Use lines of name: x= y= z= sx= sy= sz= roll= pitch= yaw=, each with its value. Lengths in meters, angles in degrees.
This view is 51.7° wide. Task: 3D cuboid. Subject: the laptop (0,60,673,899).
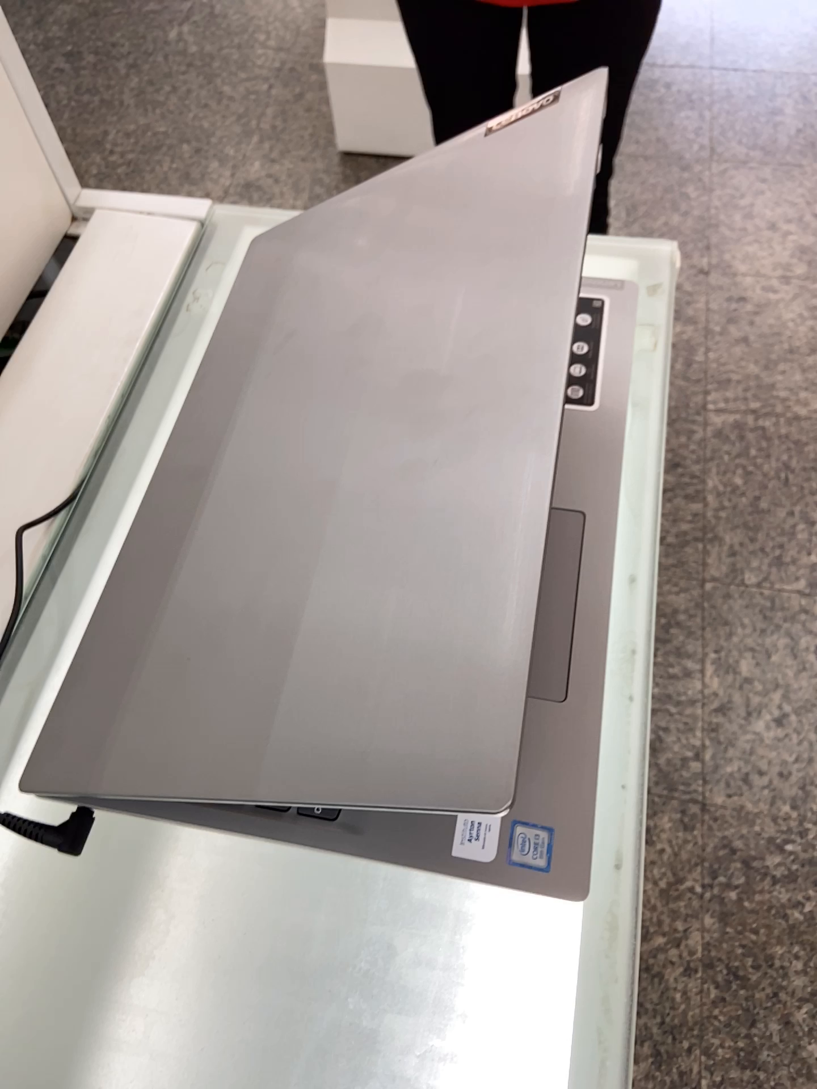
laptop: x=-0.019 y=-0.057 z=0.389 sx=0.239 sy=0.122 sz=0.355 roll=8 pitch=60 yaw=9
